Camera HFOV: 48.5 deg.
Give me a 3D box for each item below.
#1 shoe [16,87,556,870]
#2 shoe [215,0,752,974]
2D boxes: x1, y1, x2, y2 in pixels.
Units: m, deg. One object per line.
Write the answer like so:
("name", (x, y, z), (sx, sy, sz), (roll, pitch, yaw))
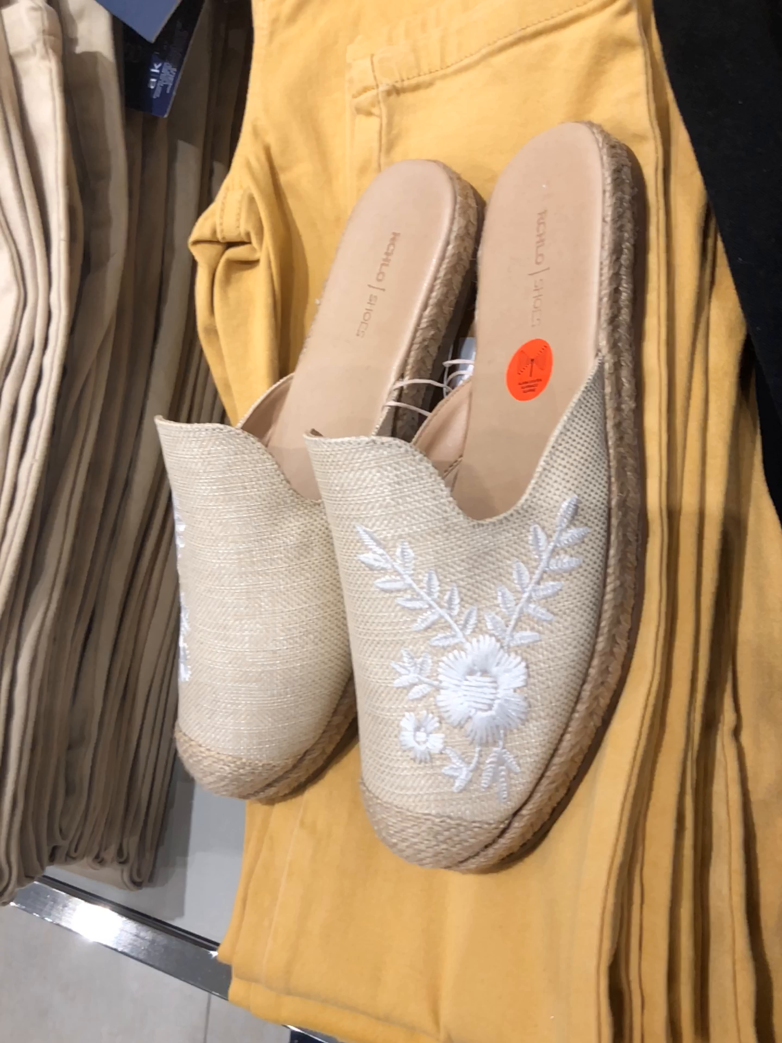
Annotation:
("shoe", (-0.038, -0.016, 0.305), (0.090, 0.070, 0.240), (20, 89, 42))
("shoe", (0.031, -0.013, 0.261), (0.090, 0.070, 0.240), (7, 81, 41))
